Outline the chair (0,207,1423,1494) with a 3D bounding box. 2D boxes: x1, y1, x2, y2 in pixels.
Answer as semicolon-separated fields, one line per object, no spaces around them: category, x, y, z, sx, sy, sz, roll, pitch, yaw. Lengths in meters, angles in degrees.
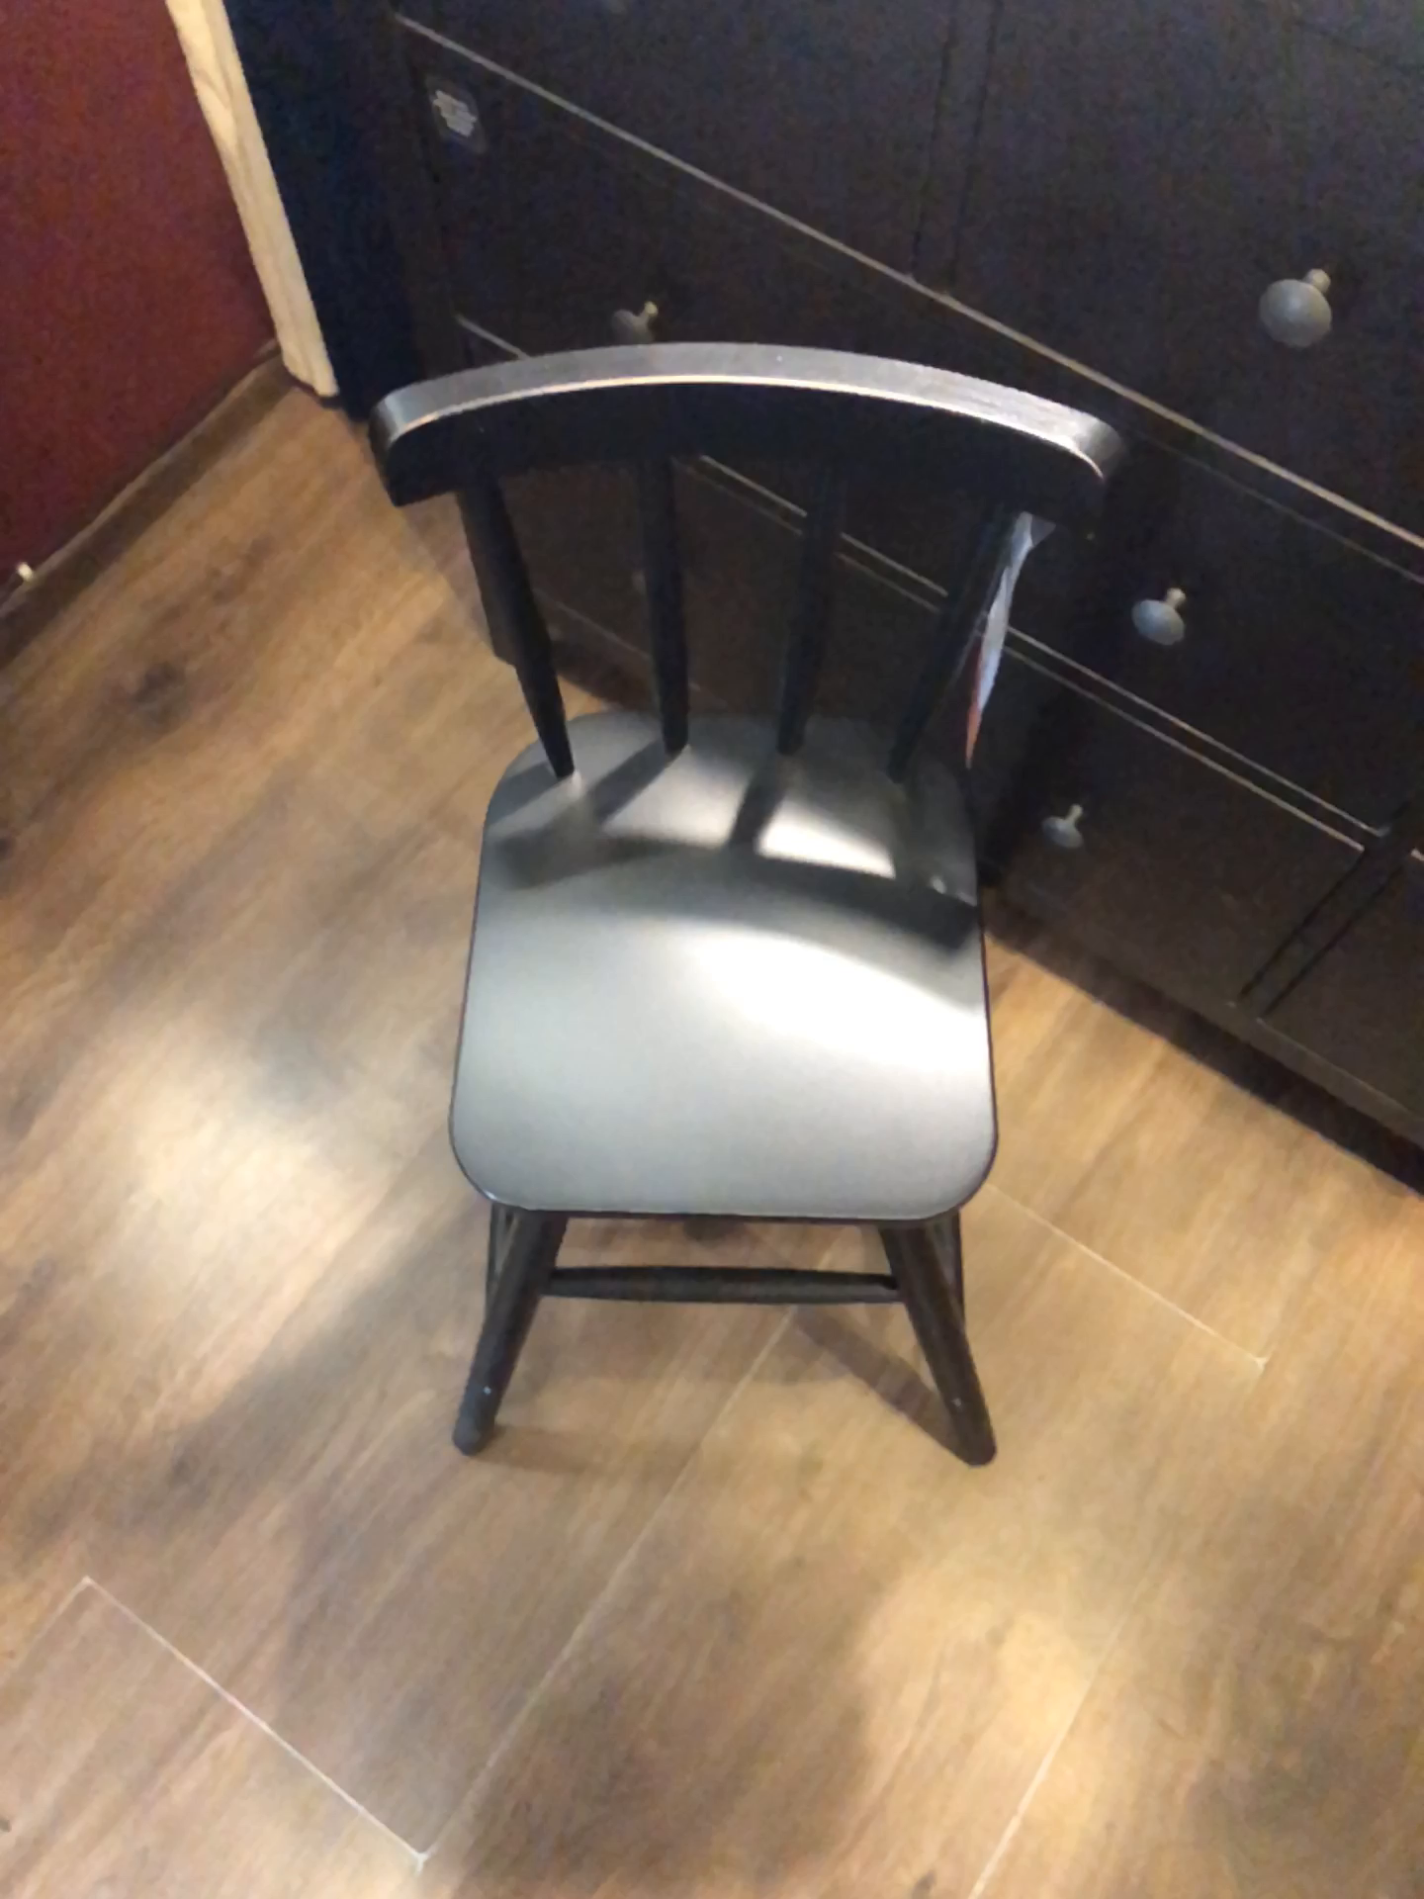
chair;0.008;0.039;0.913;0.450;0.718;0.471;1;67;1
